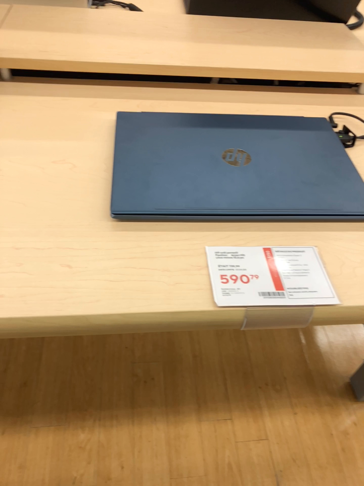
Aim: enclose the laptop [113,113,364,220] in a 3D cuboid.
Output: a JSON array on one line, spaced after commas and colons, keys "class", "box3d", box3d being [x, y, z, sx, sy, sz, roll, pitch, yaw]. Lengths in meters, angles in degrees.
[{"class": "laptop", "box3d": [0.079, -0.120, 0.594, 0.352, 0.012, 0.221, -1, 51, -5]}]
